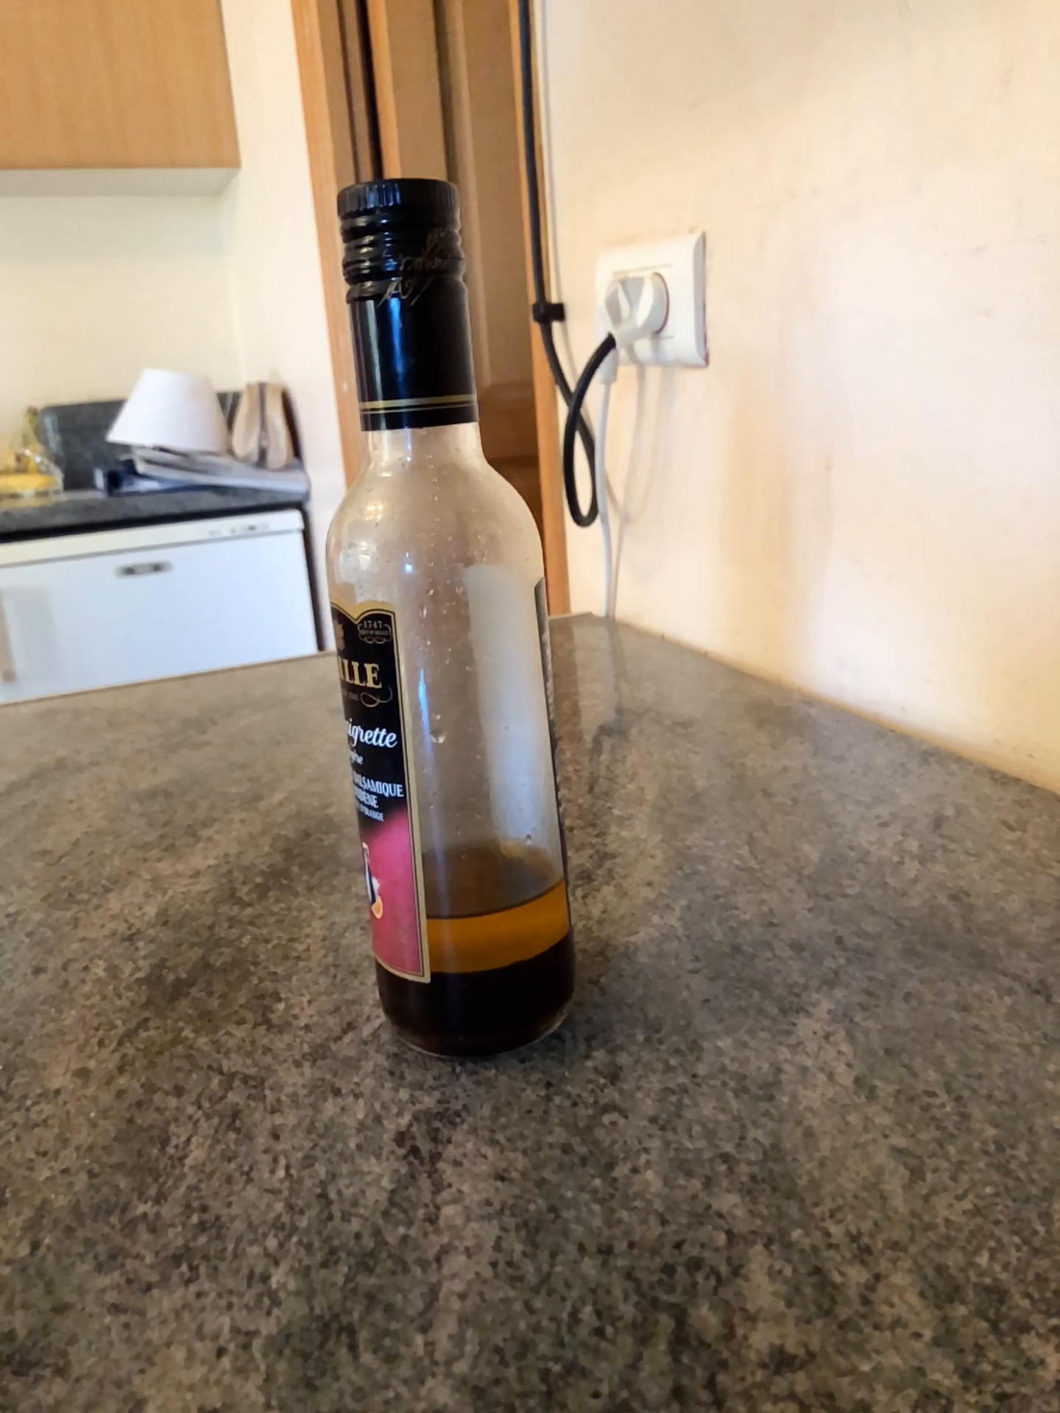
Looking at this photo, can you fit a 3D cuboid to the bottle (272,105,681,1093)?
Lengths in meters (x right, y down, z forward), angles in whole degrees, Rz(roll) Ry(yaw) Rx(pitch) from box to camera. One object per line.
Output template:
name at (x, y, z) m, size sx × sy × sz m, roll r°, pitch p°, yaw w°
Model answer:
bottle at (-0.013, -0.026, 0.313) m, size 0.070 × 0.229 × 0.070 m, roll -4°, pitch 14°, yaw 1°
